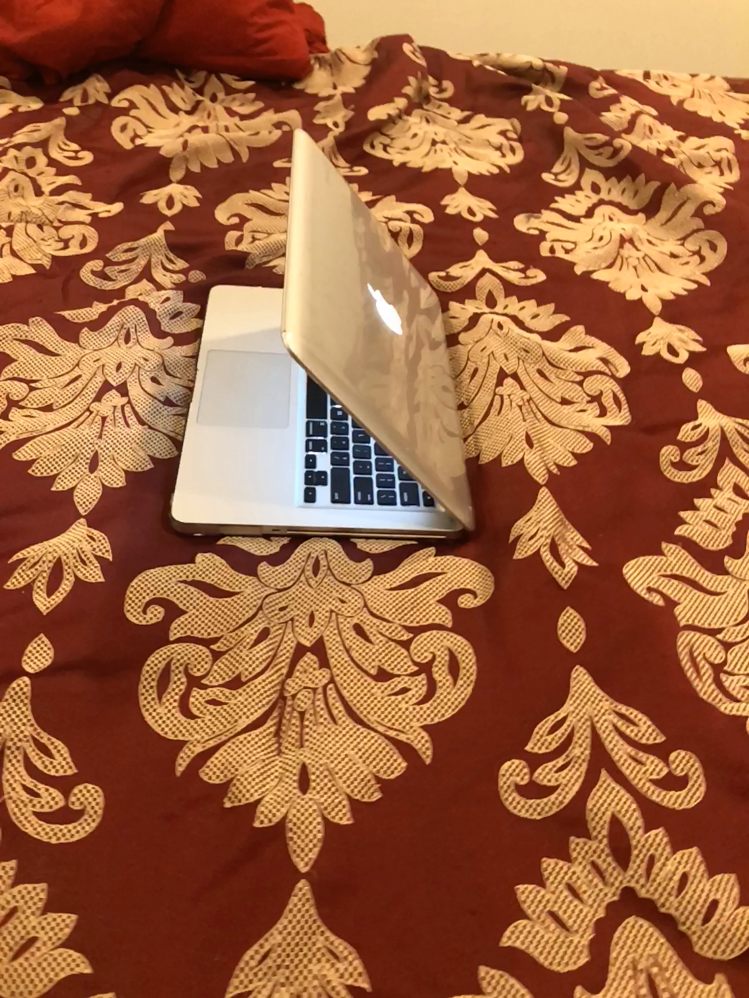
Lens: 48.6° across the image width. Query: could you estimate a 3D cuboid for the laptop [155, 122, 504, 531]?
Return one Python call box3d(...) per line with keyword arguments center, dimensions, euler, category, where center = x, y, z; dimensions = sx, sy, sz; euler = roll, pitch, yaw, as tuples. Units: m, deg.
box3d(center=(-0.040, -0.149, 0.663), dimensions=(0.212, 0.156, 0.313), euler=(2, 46, -5), category="laptop")
